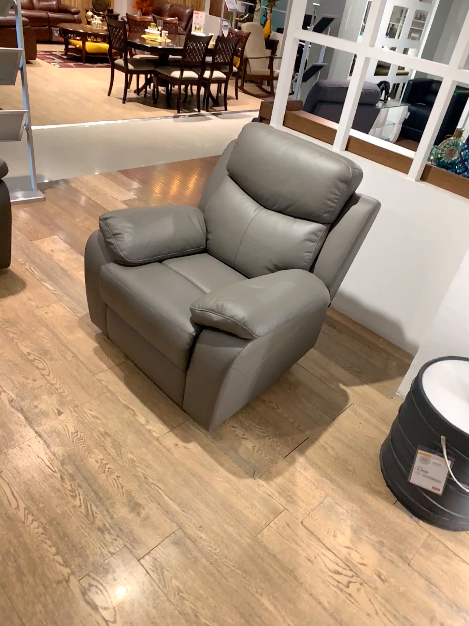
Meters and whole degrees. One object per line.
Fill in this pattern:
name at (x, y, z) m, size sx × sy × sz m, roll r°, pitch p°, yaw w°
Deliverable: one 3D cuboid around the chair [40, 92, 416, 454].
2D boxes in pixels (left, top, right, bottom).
chair at (-0.081, -0.280, 1.981) m, size 0.942 × 0.936 × 1.002 m, roll -24°, pitch 47°, yaw -40°
